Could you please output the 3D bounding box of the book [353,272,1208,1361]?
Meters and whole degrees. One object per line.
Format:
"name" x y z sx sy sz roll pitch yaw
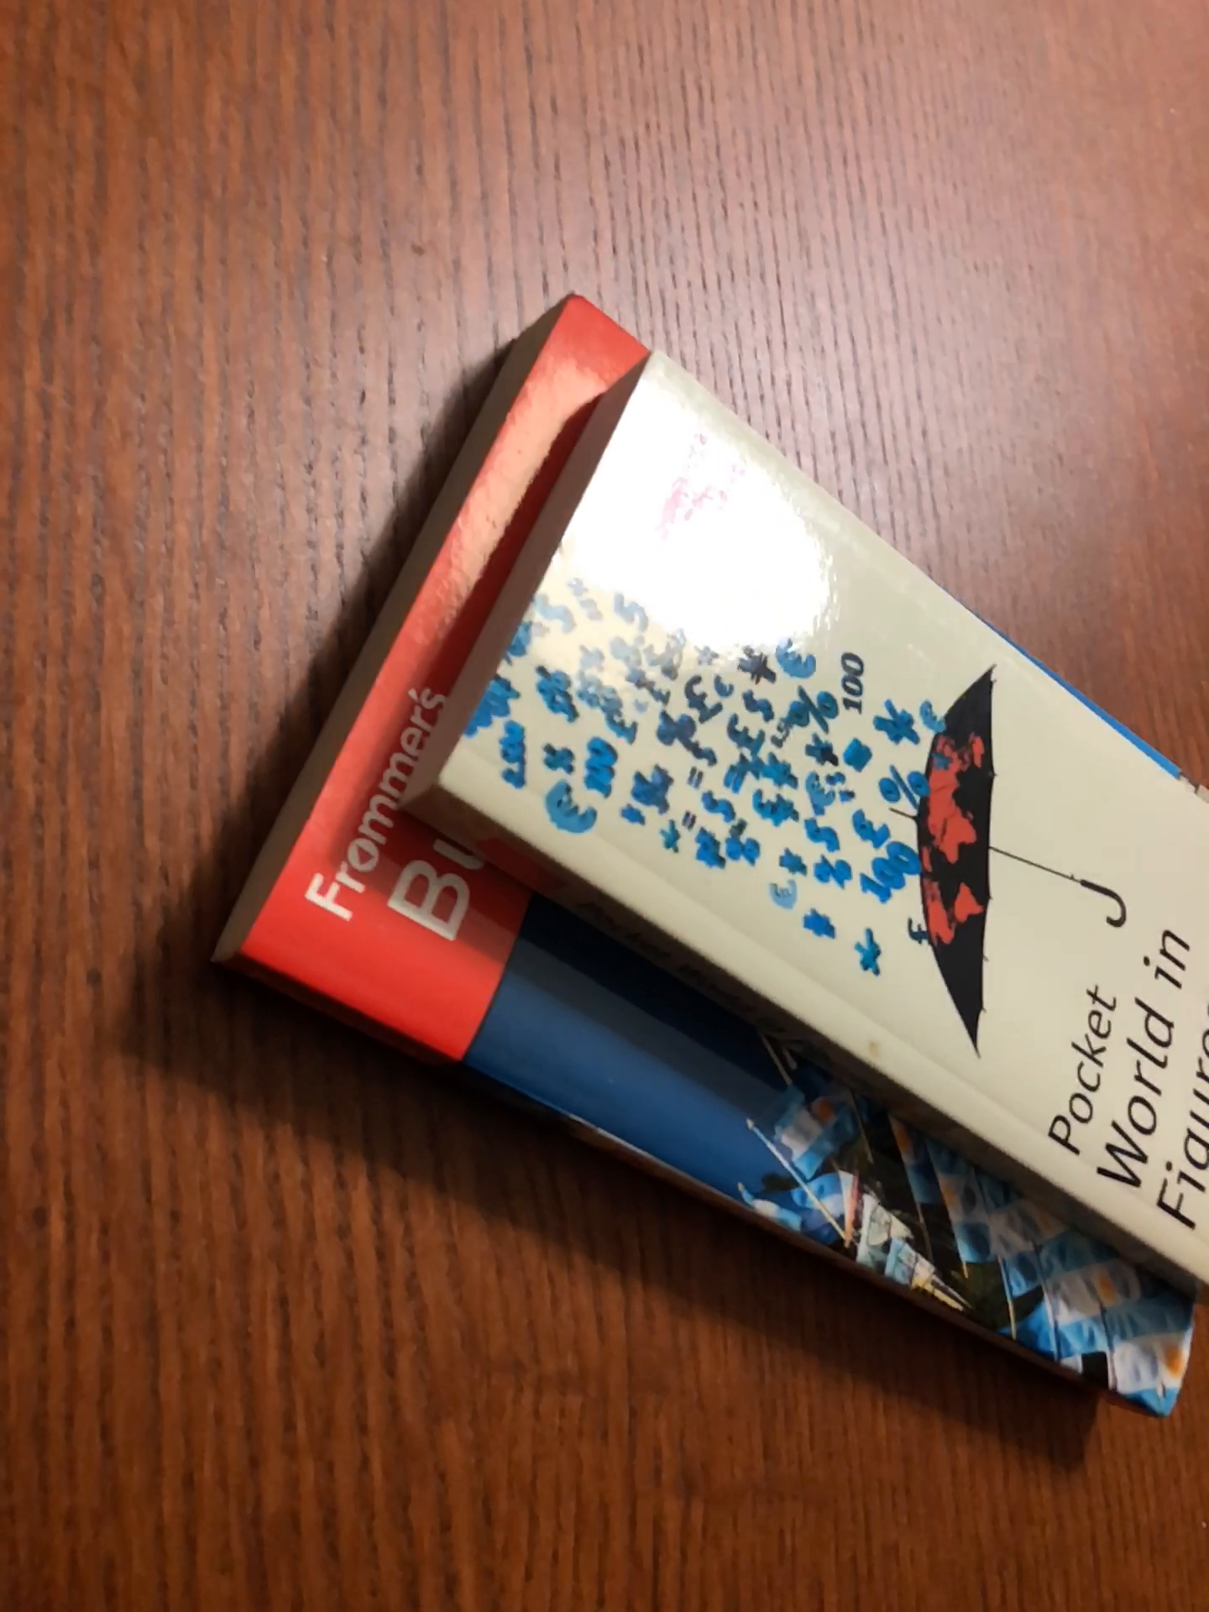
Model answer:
"book" 0.065 0.010 0.238 0.200 0.020 0.100 34 62 -21

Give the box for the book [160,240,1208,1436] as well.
"book" 0.046 0.012 0.255 0.210 0.020 0.140 32 63 -22
